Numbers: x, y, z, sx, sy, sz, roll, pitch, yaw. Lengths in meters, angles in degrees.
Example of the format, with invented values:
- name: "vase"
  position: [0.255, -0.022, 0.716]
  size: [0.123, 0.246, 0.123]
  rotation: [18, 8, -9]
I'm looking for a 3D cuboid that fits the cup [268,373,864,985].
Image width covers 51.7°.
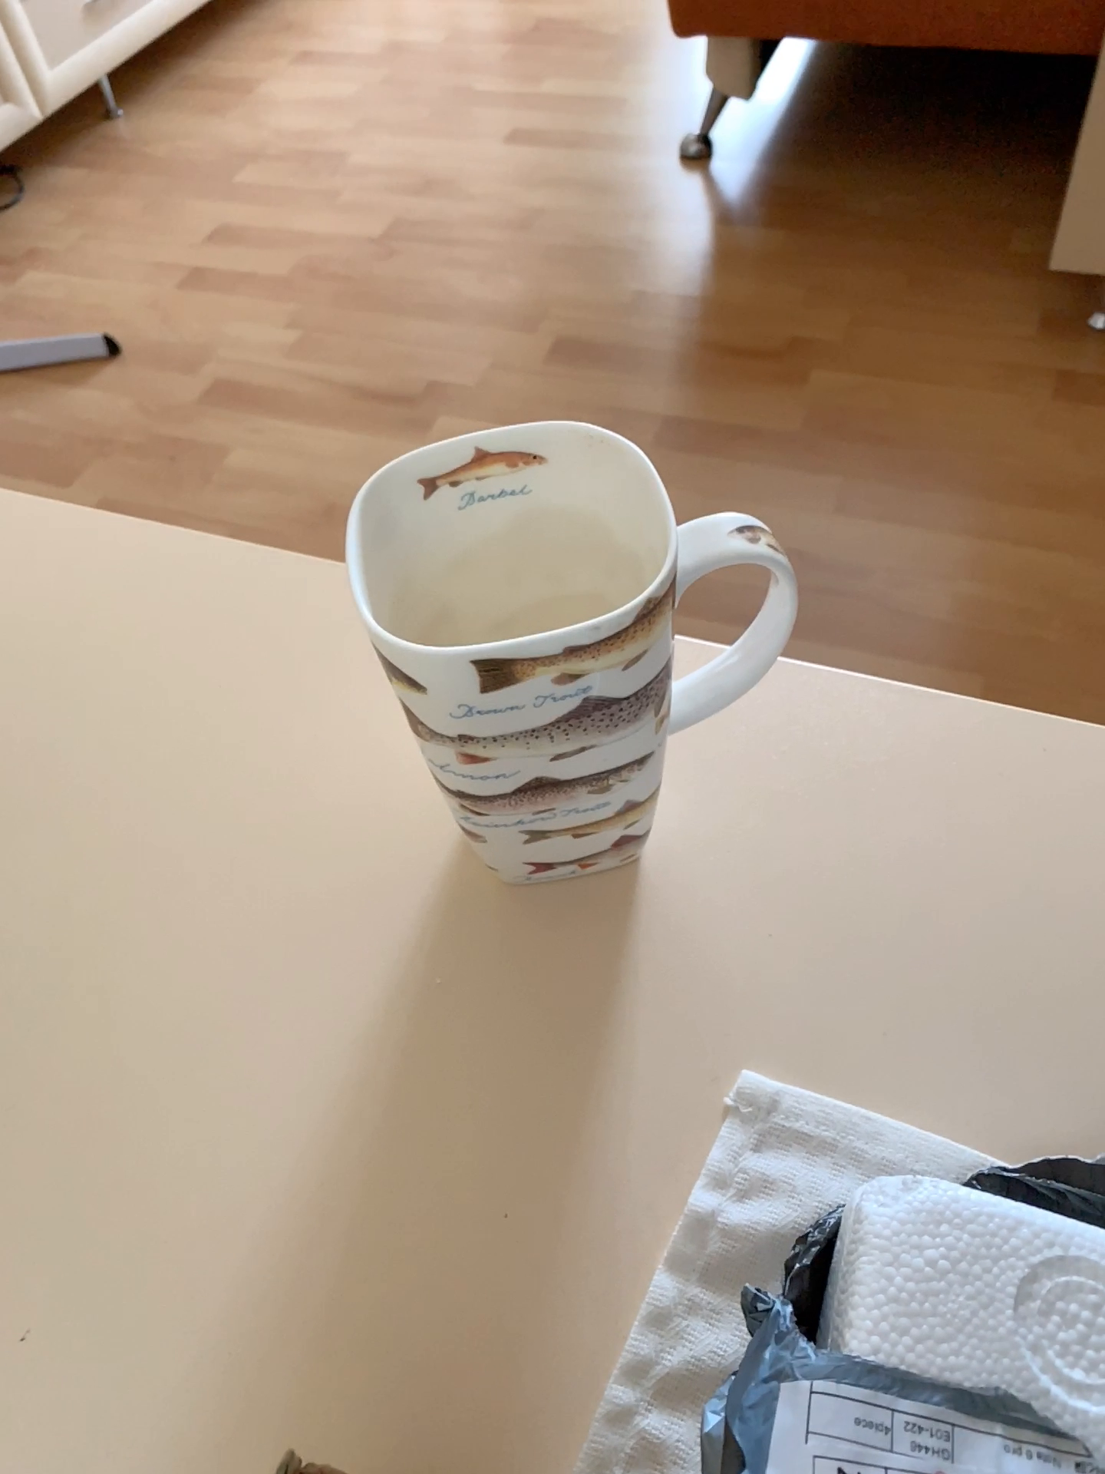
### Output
- name: "cup"
  position: [0.003, -0.013, 0.345]
  size: [0.140, 0.129, 0.101]
  rotation: [-11, 51, 0]
